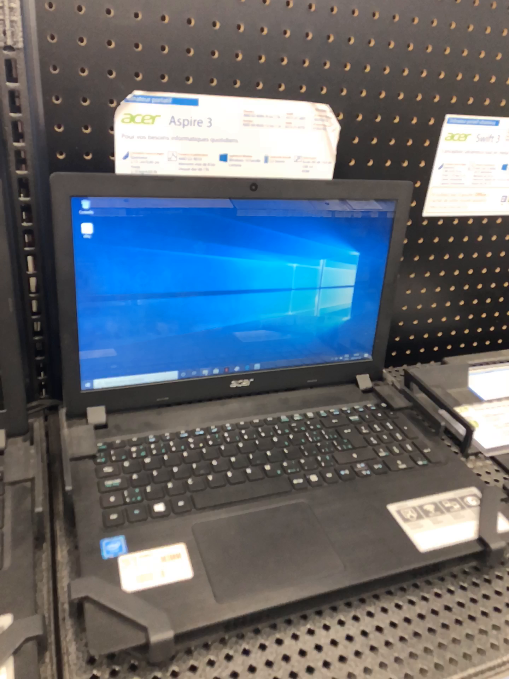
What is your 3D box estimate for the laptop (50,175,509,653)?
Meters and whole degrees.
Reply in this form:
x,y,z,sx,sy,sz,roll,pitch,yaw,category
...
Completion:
x,y,z,sx,sy,sz,roll,pitch,yaw,category
0.034,0.014,0.503,0.386,0.247,0.296,-5,29,-20,laptop
